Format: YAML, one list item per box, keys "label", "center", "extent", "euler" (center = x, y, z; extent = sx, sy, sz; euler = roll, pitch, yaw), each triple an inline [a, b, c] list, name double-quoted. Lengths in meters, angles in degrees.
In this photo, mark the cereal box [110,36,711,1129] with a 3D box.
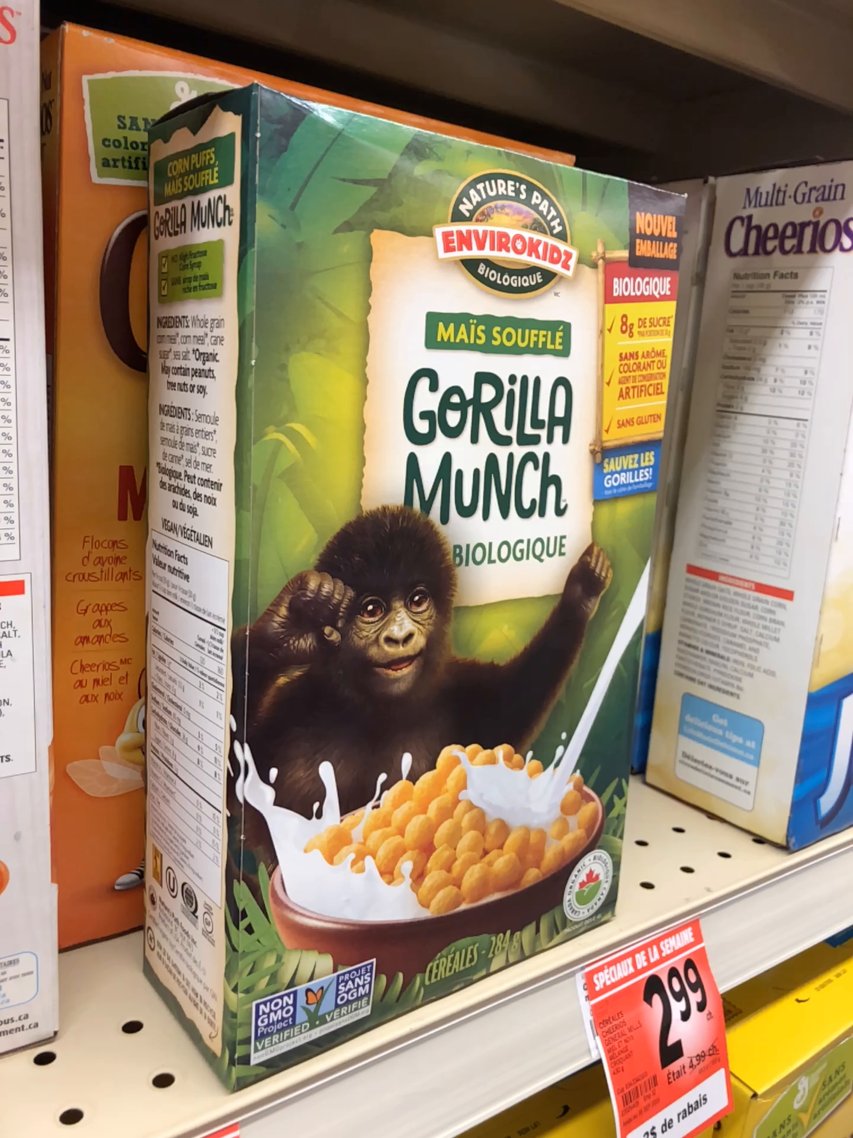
- label: "cereal box"
  center: [-0.005, 0.006, 0.290]
  extent: [0.160, 0.259, 0.060]
  euler: [-5, 16, -38]
